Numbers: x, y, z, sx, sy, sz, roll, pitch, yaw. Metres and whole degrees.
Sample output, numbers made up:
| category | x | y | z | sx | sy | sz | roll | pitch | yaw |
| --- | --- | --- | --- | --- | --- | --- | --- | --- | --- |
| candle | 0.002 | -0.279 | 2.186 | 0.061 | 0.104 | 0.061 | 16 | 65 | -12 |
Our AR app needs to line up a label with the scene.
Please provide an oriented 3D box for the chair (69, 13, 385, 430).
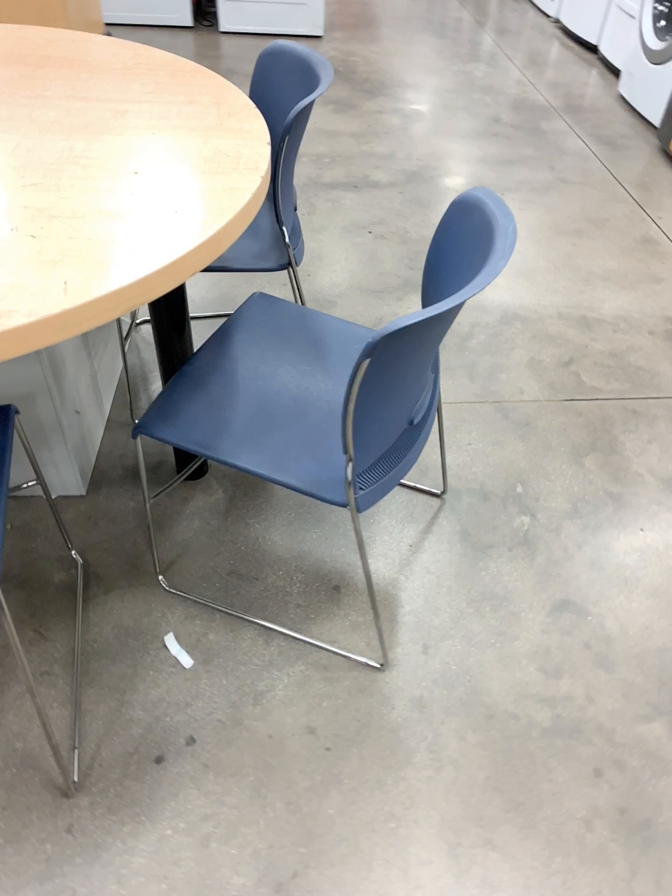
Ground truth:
| category | x | y | z | sx | sy | sz | roll | pitch | yaw |
| --- | --- | --- | --- | --- | --- | --- | --- | --- | --- |
| chair | -0.248 | -0.510 | 1.579 | 0.531 | 0.749 | 0.485 | -7 | 46 | -12 |

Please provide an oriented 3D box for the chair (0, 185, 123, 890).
| category | x | y | z | sx | sy | sz | roll | pitch | yaw |
| --- | --- | --- | --- | --- | --- | --- | --- | --- | --- |
| chair | -0.614 | 0.130 | 0.943 | 0.483 | 0.730 | 0.574 | -8 | 46 | -12 |

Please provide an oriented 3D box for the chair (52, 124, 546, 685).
| category | x | y | z | sx | sy | sz | roll | pitch | yaw |
| --- | --- | --- | --- | --- | --- | --- | --- | --- | --- |
| chair | -0.033 | -0.059 | 1.217 | 0.551 | 0.749 | 0.485 | 16 | 46 | 11 |
